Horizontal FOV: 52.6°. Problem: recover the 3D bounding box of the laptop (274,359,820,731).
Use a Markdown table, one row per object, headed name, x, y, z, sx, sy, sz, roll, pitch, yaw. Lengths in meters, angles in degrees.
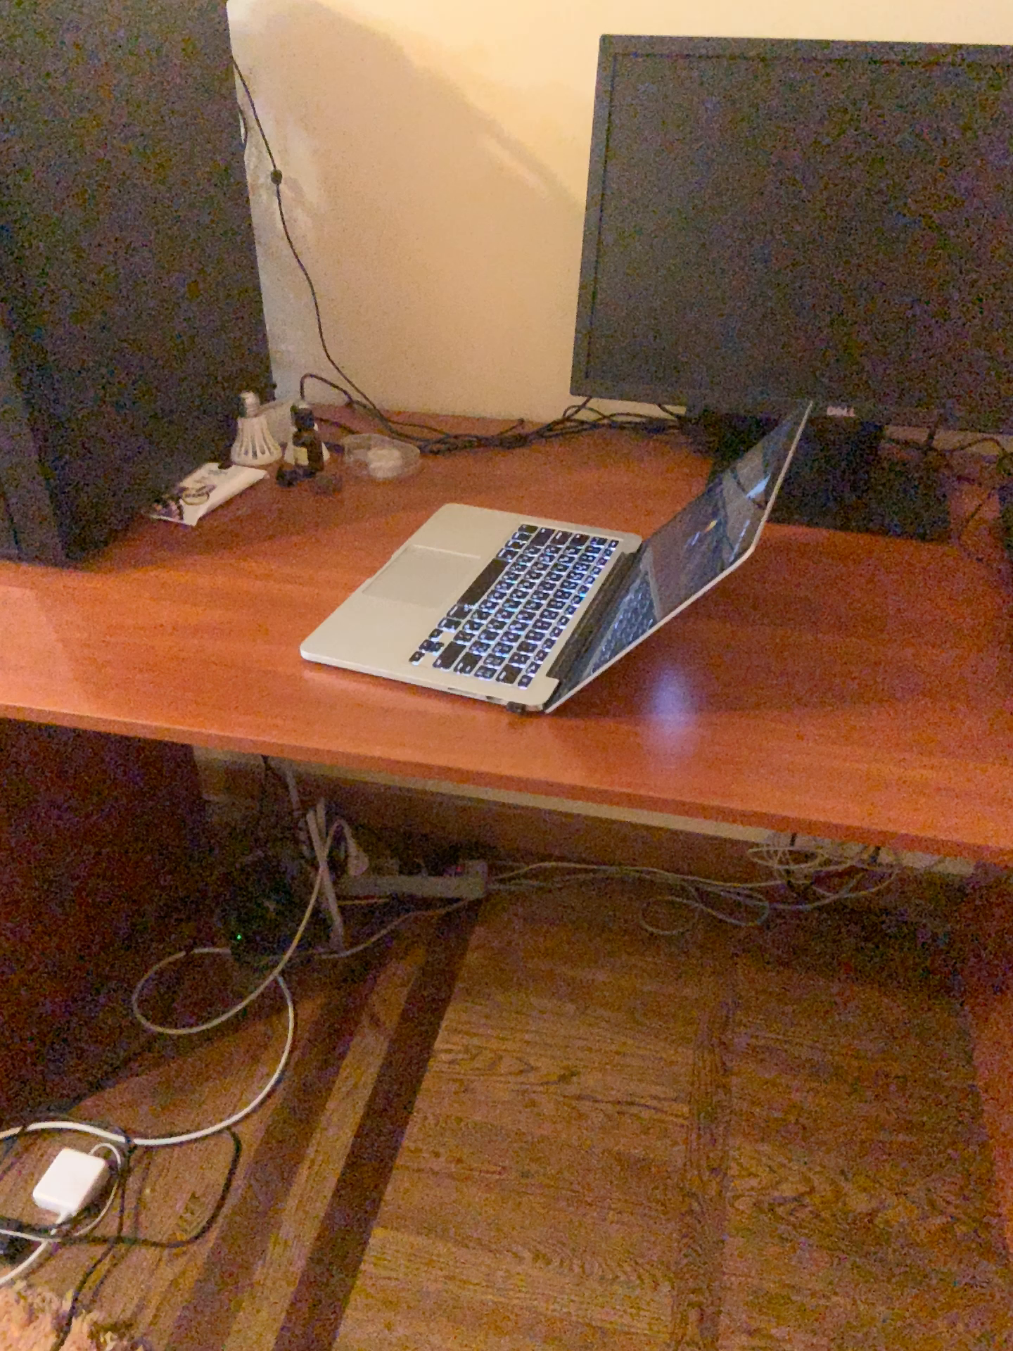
| name | x | y | z | sx | sy | sz | roll | pitch | yaw |
| --- | --- | --- | --- | --- | --- | --- | --- | --- | --- |
| laptop | 0.046 | -0.125 | 0.814 | 0.333 | 0.139 | 0.287 | 11 | 36 | 18 |
